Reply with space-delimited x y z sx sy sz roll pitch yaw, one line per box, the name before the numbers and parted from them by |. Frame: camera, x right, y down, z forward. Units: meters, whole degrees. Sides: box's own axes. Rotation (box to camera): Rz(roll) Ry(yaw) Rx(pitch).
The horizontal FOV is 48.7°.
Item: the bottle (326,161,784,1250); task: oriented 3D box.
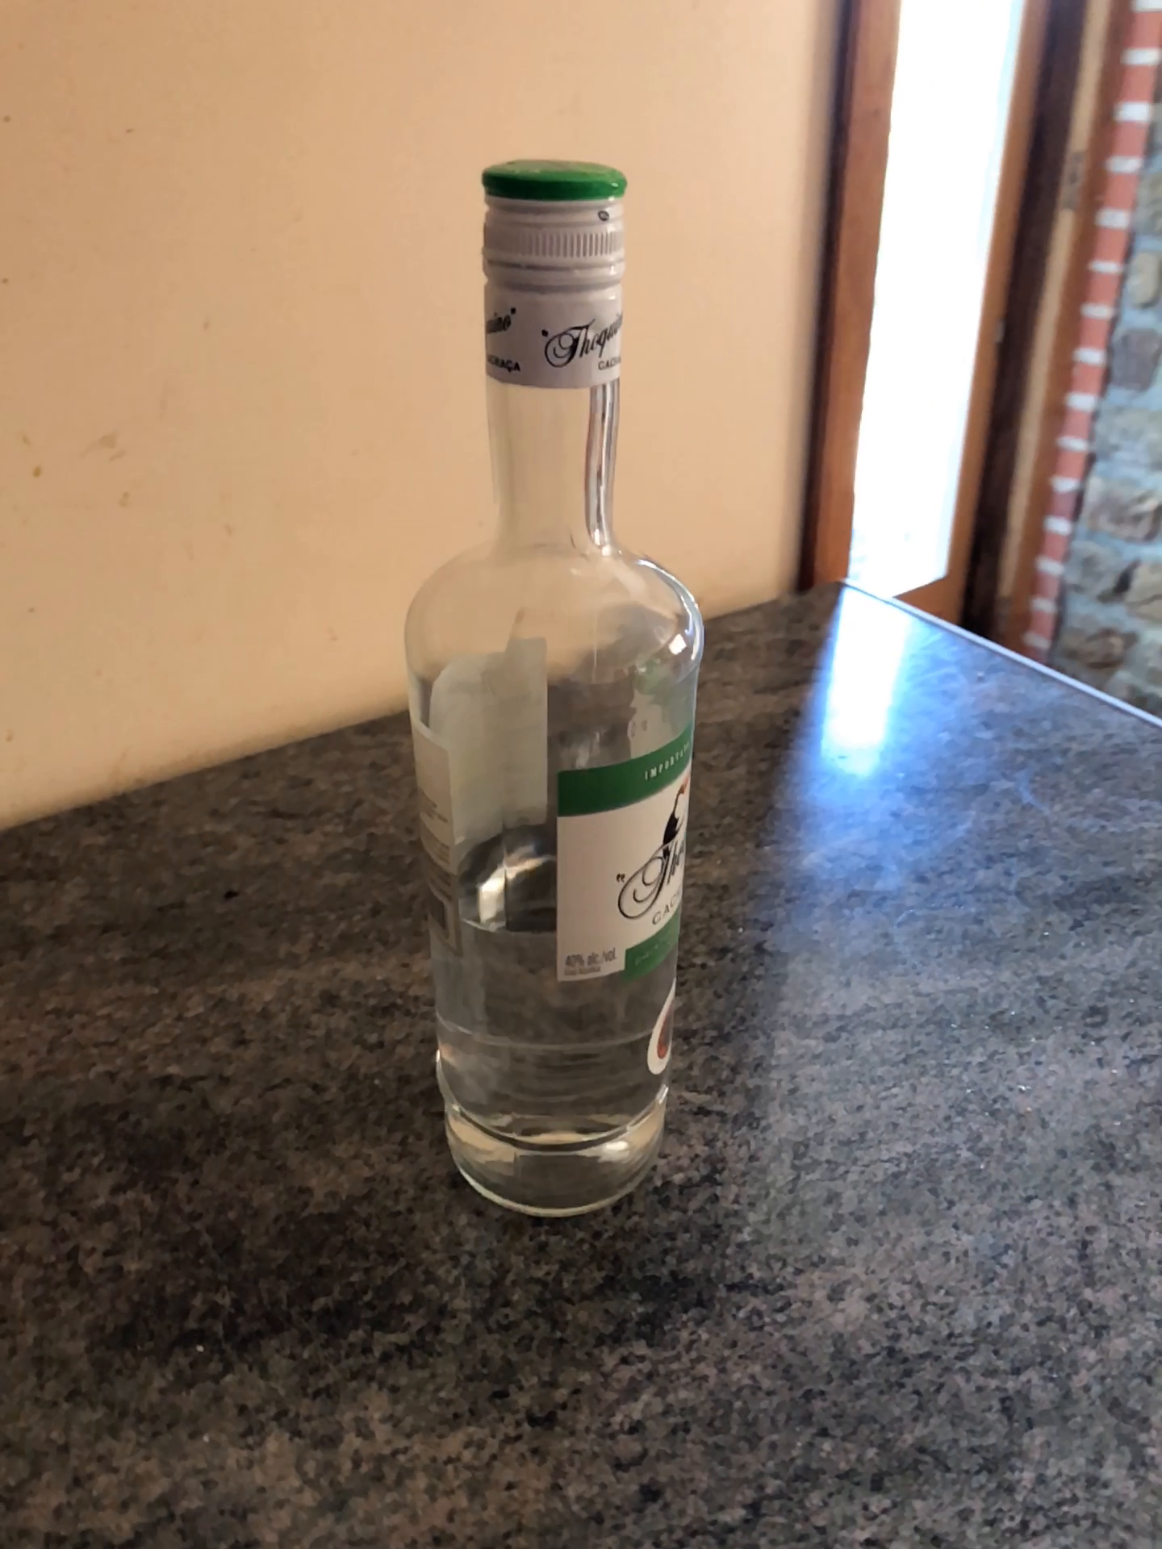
bottle | -0.001 -0.010 0.349 0.080 0.278 0.081 0 28 0
